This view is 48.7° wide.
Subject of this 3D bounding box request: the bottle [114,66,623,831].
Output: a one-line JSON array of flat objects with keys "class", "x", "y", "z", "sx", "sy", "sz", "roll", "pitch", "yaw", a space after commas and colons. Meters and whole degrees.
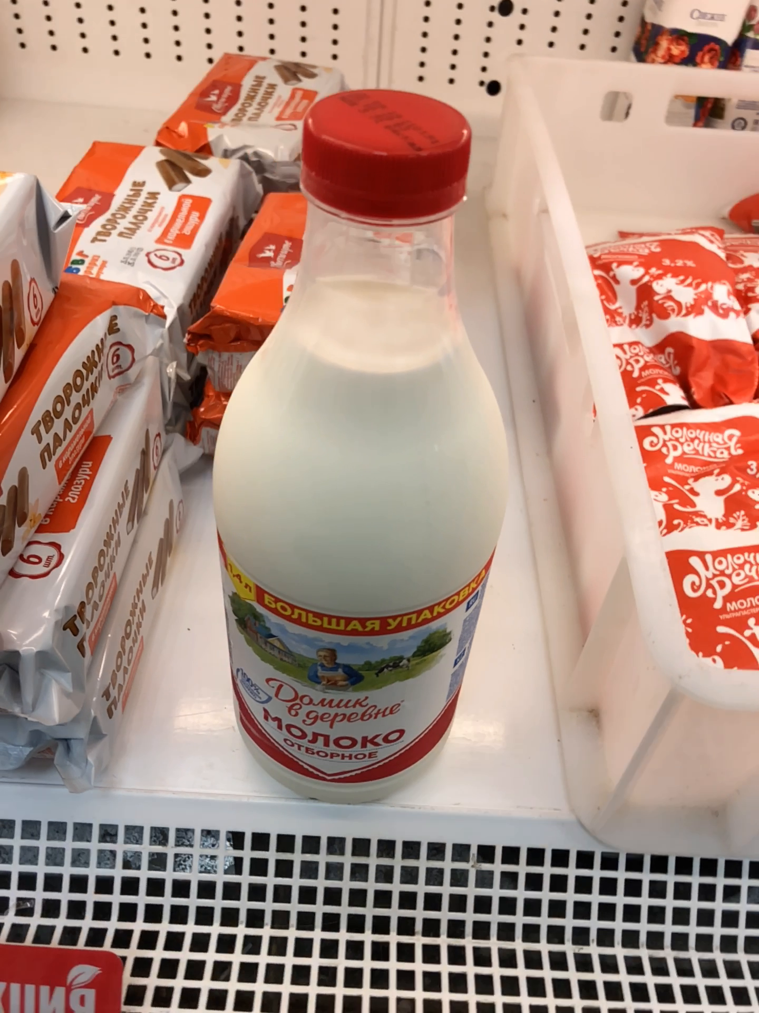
[{"class": "bottle", "x": -0.006, "y": 0.004, "z": 0.288, "sx": 0.100, "sy": 0.249, "sz": 0.101, "roll": 2, "pitch": 45, "yaw": -2}]
